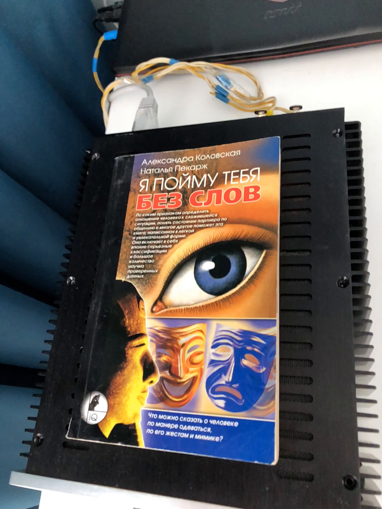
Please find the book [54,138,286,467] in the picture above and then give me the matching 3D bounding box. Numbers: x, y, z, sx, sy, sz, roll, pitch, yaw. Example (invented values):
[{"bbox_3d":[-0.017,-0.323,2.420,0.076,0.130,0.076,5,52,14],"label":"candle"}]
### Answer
[{"bbox_3d":[-0.007,0.019,0.259,0.123,0.023,0.183,-2,69,19],"label":"book"}]
